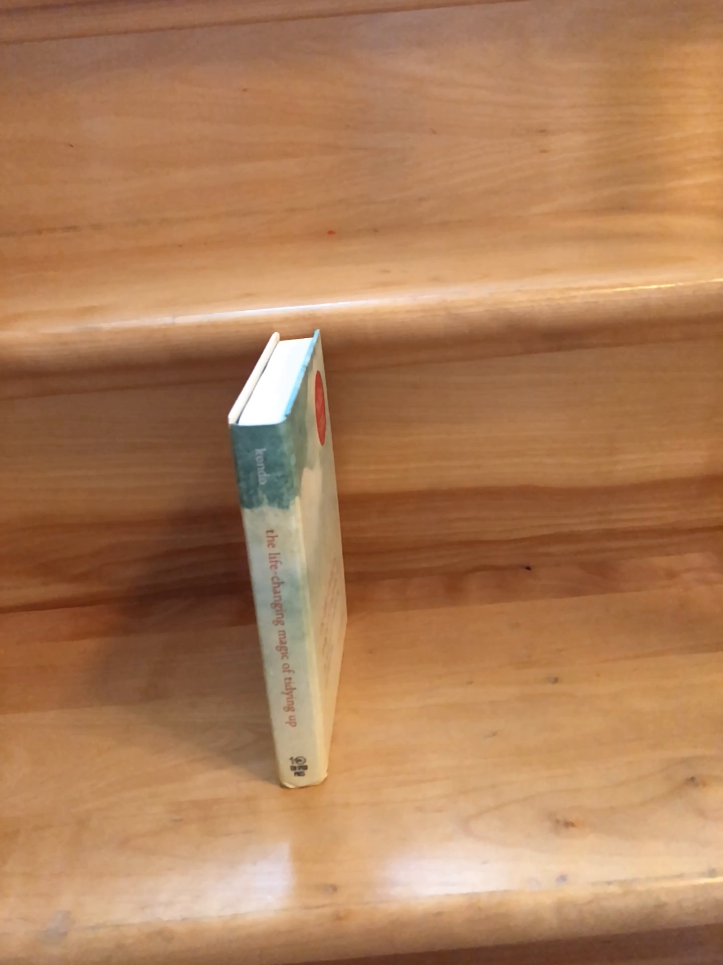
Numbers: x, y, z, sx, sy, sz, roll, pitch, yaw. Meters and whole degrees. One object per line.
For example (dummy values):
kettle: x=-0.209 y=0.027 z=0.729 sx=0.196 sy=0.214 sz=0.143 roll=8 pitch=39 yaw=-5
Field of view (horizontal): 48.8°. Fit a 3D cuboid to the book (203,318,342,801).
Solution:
book: x=-0.036 y=0.033 z=0.406 sx=0.027 sy=0.199 sz=0.141 roll=-2 pitch=26 yaw=4
